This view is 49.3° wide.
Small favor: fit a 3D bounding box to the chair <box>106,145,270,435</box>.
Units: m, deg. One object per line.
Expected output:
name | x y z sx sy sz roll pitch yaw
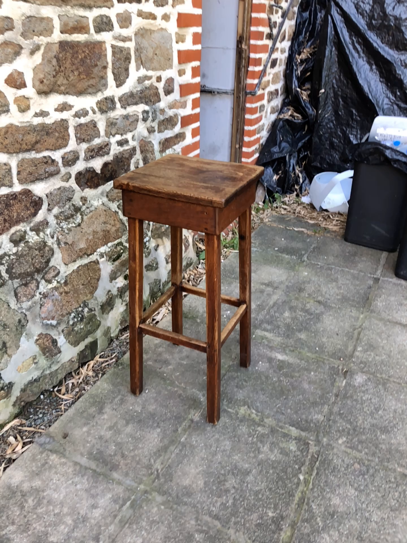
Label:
chair | -0.036 0.057 1.418 0.330 0.795 0.352 14 32 21
